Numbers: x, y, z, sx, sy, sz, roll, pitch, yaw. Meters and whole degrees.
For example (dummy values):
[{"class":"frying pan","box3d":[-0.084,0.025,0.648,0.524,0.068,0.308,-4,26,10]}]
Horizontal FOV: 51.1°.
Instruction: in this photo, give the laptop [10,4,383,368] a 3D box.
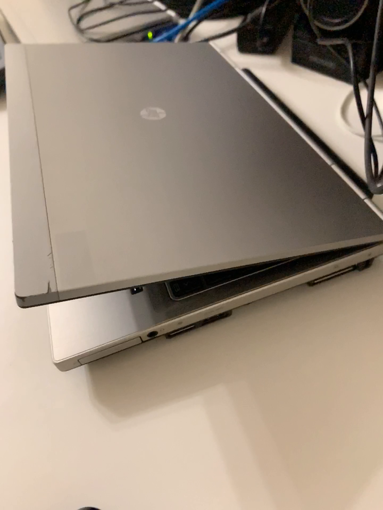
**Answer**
[{"class":"laptop","box3d":[-0.029,-0.093,0.305,0.199,0.042,0.305,-21,49,-4]}]
